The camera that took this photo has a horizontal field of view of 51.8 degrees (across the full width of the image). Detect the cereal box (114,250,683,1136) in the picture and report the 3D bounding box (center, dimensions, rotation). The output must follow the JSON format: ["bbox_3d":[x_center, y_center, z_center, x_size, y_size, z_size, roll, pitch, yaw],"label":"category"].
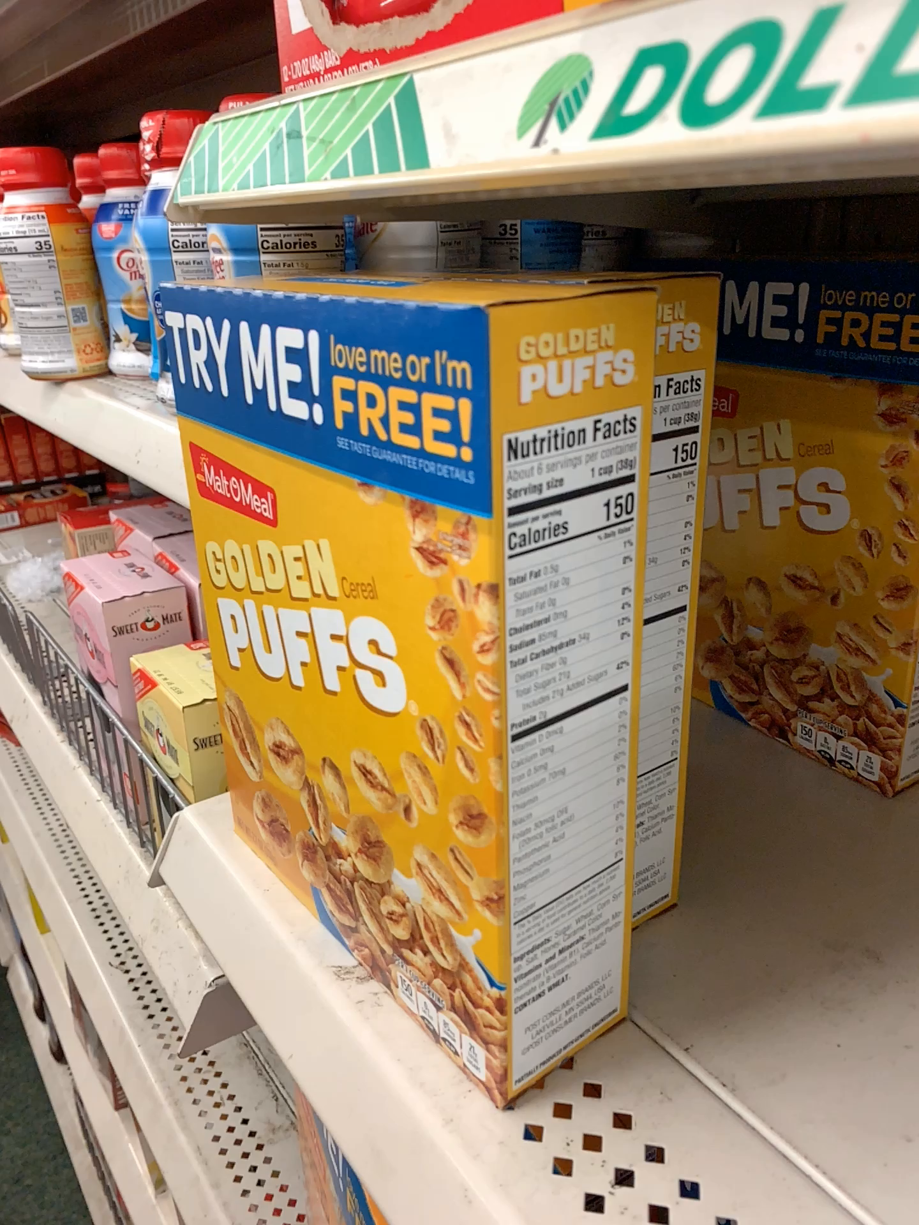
[{"bbox_3d":[-0.030,0.004,0.300,0.060,0.219,0.191,-17,26,-34],"label":"cereal box"}]
